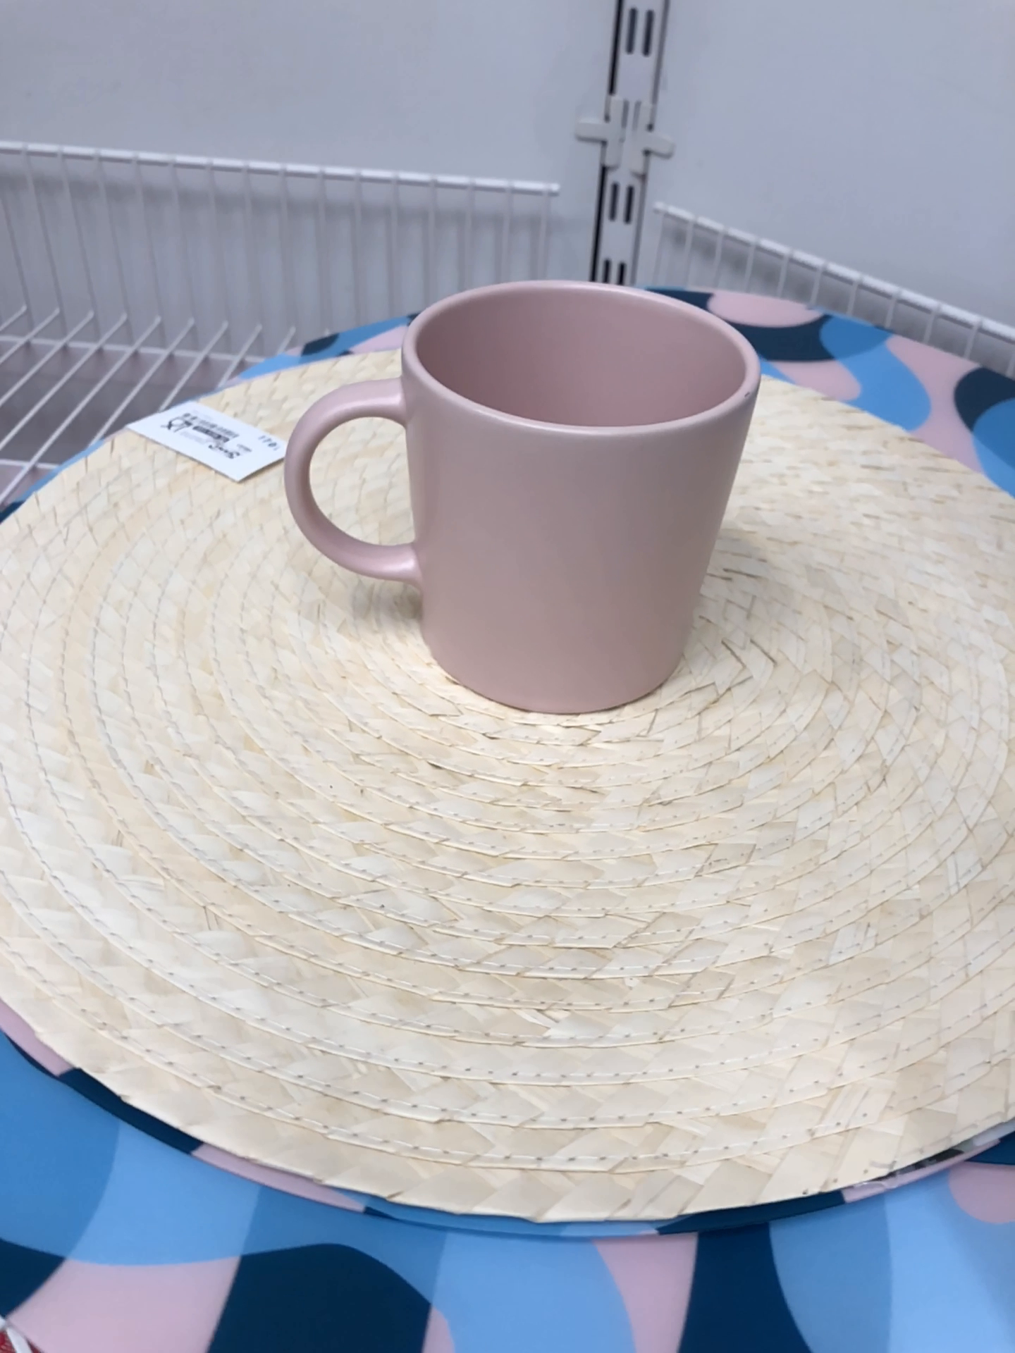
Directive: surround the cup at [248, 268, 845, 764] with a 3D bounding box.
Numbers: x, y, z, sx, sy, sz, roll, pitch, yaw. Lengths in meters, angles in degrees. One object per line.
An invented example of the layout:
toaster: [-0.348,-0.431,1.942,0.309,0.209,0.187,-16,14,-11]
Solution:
cup: [0.001,-0.049,0.311,0.130,0.090,0.100,-5,38,-12]
